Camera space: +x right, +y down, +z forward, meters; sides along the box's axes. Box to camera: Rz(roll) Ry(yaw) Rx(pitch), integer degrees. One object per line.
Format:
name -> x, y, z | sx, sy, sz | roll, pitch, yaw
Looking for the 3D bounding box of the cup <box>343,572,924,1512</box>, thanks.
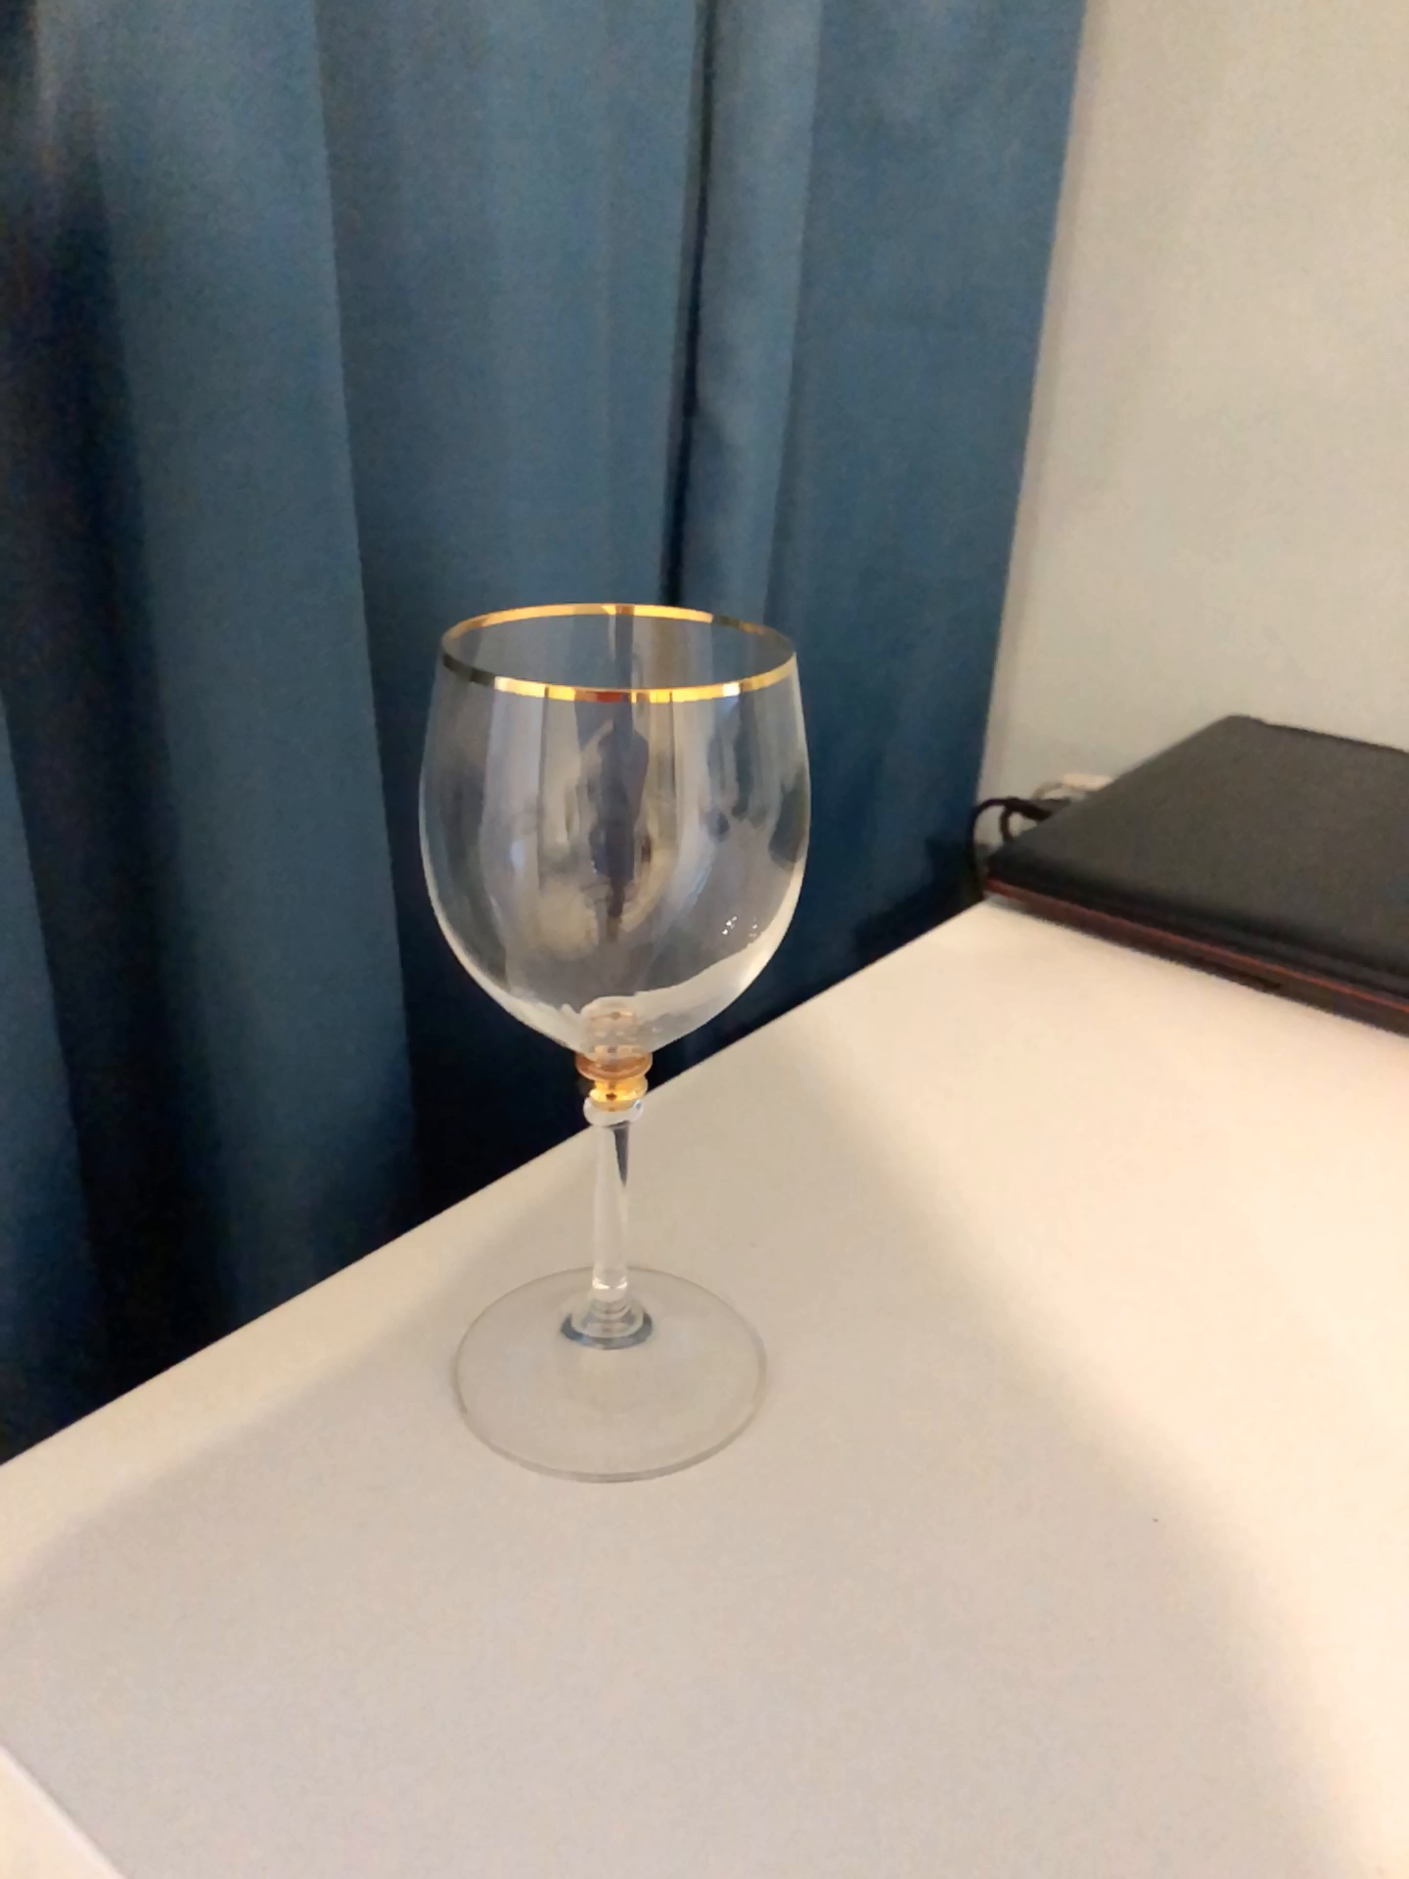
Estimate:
cup -> -0.024, 0.016, 0.354 | 0.100, 0.179, 0.101 | 2, 22, -1
